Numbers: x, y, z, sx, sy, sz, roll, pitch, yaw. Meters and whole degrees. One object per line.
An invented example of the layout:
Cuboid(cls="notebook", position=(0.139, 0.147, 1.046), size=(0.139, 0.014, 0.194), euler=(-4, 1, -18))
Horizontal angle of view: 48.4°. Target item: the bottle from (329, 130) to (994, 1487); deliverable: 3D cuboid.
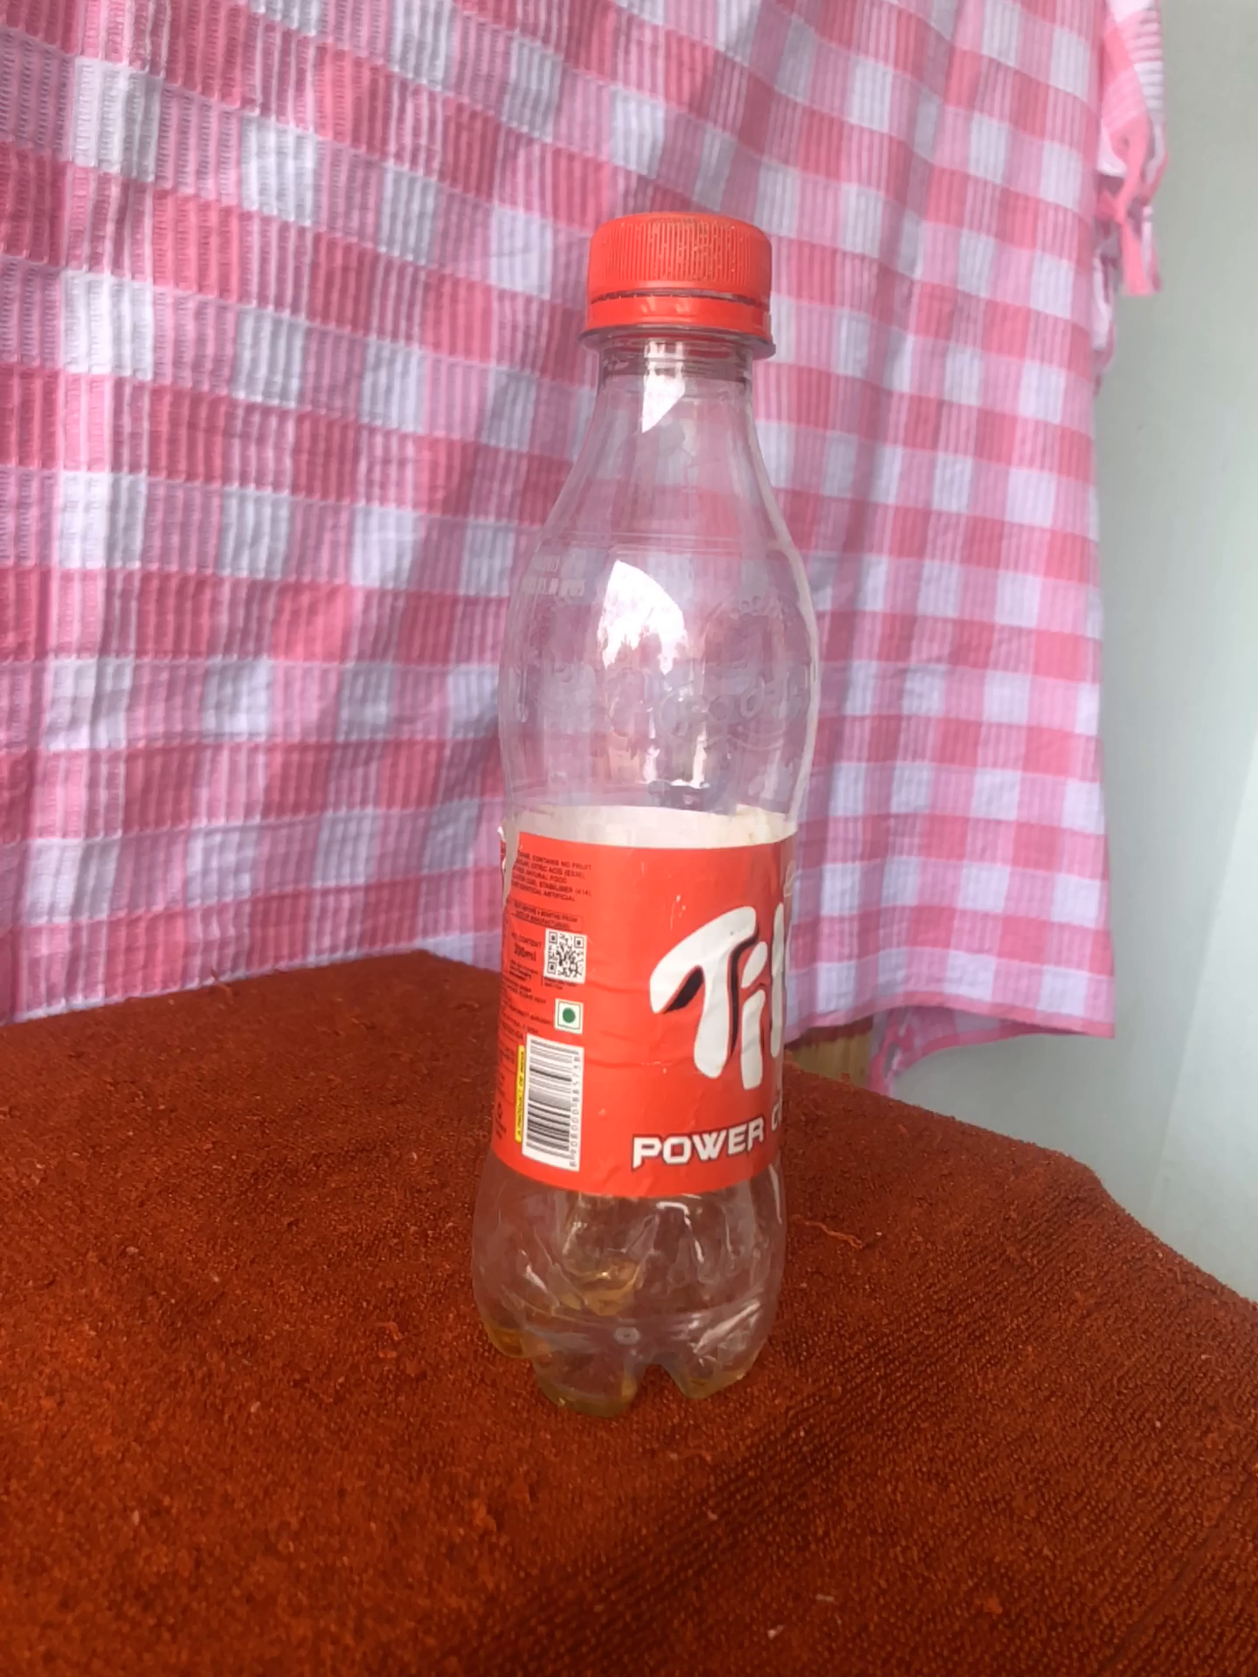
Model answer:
Cuboid(cls="bottle", position=(0.004, -0.005, 0.232), size=(0.060, 0.190, 0.060), euler=(8, 10, -1))
